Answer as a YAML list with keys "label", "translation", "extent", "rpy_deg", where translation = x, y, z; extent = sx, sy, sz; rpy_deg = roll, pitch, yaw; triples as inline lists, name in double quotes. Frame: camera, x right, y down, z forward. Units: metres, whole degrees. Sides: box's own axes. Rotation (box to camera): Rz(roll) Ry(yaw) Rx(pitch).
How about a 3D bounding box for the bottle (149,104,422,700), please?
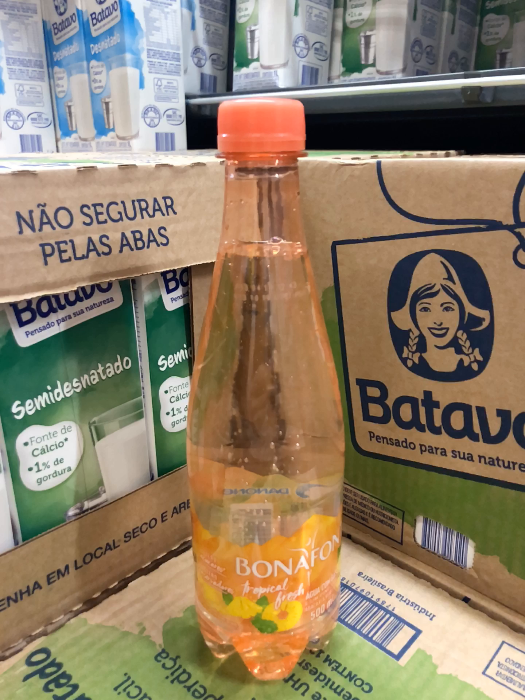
- label: "bottle"
  translation: [0.001, 0.027, 0.236]
  extent: [0.080, 0.229, 0.070]
  rpy_deg: [-3, 19, -10]
